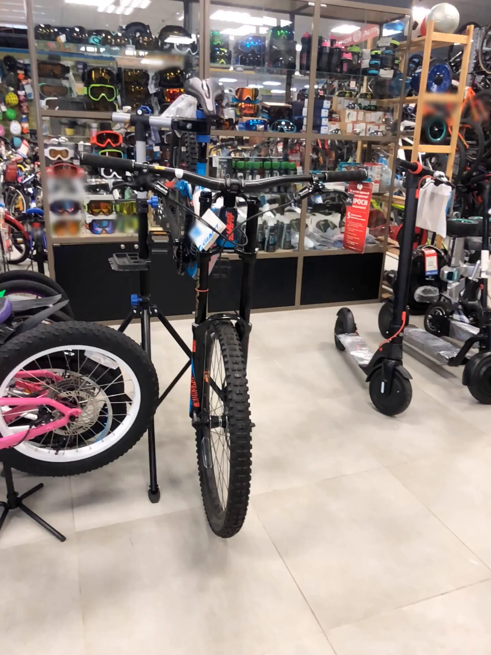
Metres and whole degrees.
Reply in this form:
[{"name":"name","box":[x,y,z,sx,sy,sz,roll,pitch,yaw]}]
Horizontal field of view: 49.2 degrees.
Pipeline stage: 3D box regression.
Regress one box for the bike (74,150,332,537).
[{"name":"bike","box":[-0.196,-0.140,1.913,0.659,0.181,1.531,0,45,-12]}]
